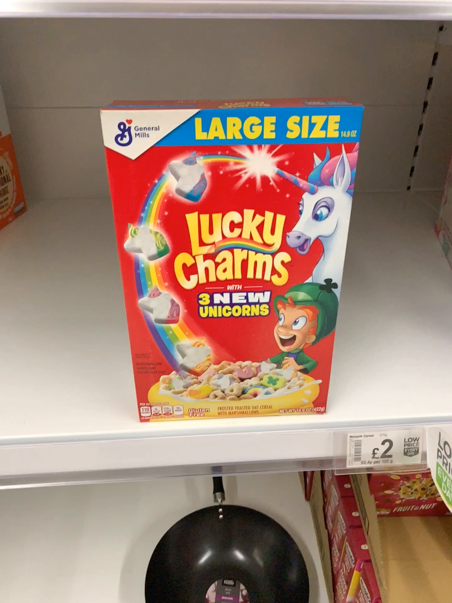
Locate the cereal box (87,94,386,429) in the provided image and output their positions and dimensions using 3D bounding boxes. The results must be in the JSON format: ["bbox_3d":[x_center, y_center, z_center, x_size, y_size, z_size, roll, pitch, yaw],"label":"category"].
[{"bbox_3d":[0.007,-0.025,0.427,0.210,0.297,0.071,-2,28,-4],"label":"cereal box"}]
